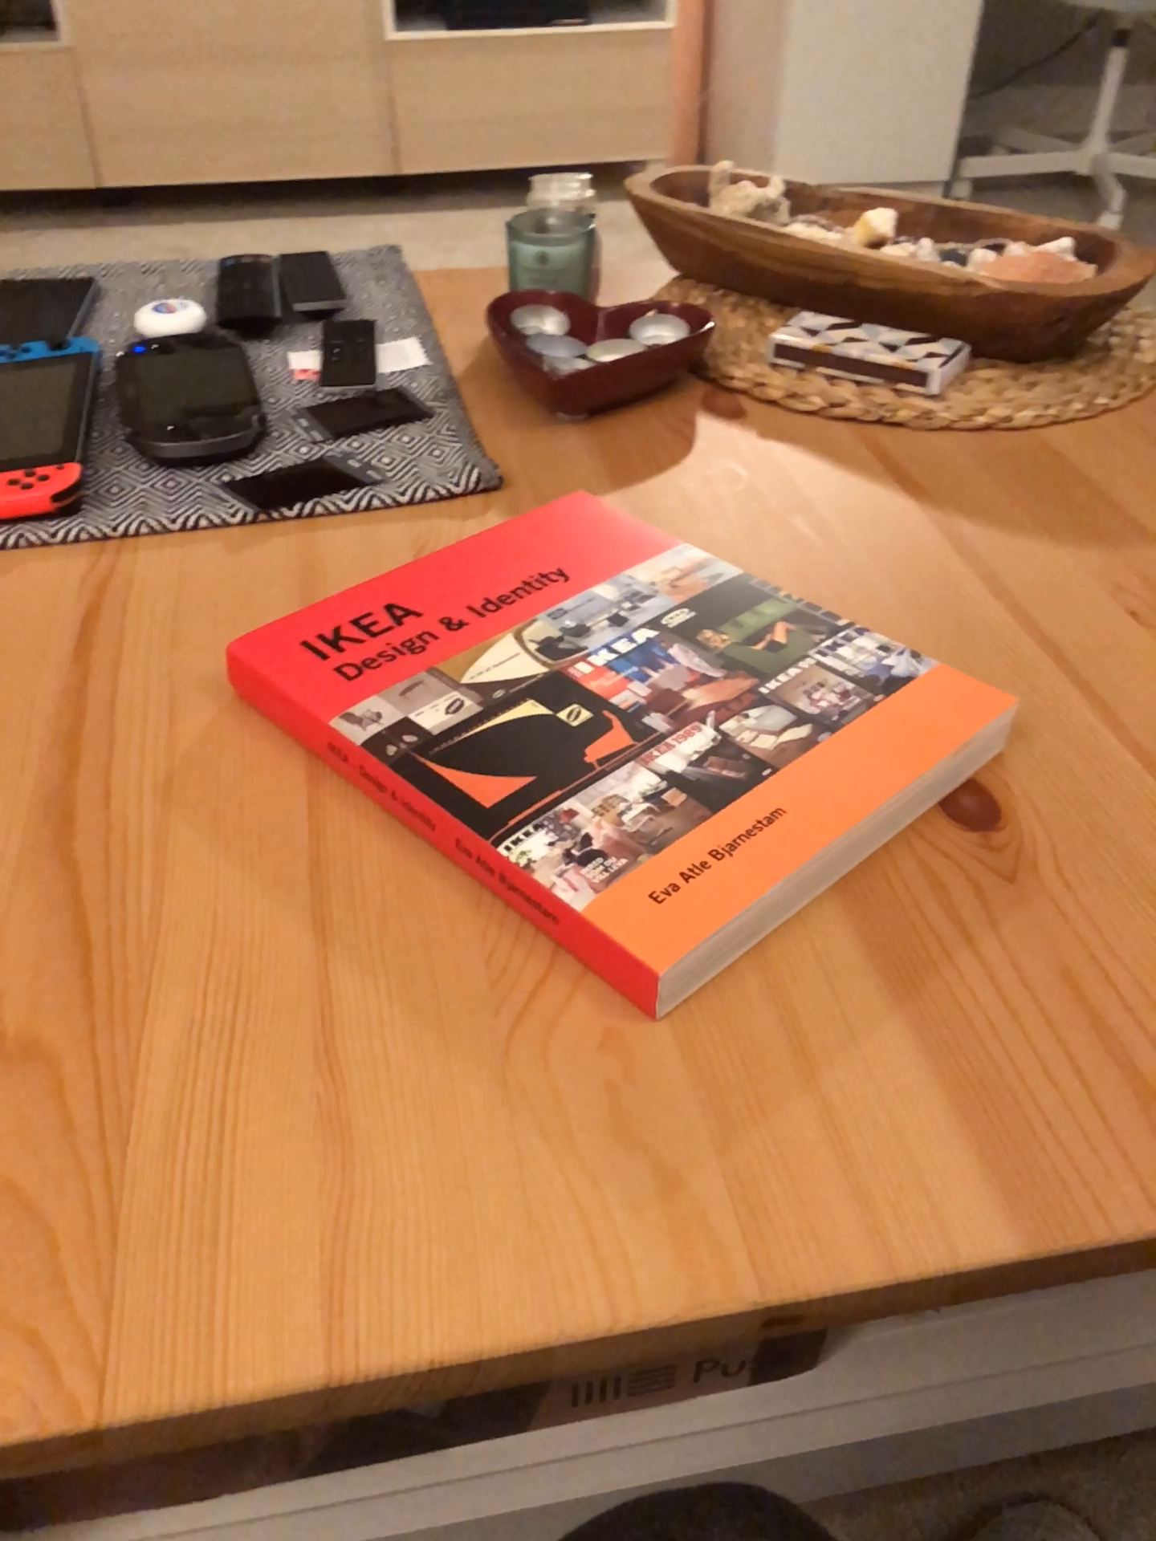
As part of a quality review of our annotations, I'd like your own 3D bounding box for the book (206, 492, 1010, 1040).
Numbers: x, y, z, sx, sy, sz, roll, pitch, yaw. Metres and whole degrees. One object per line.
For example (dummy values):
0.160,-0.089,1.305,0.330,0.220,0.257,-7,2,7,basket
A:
0.009,-0.028,0.535,0.217,0.030,0.255,-31,48,-34,book
